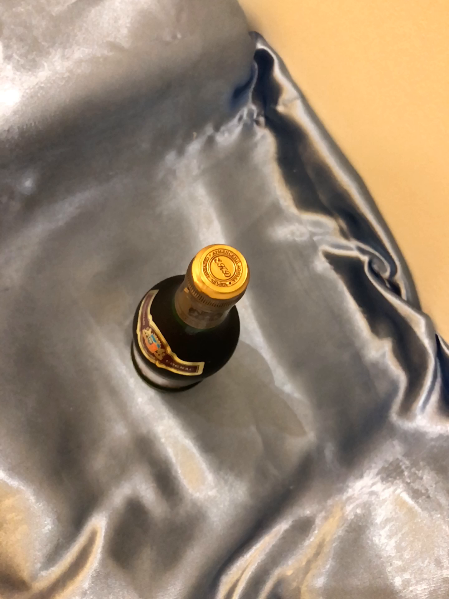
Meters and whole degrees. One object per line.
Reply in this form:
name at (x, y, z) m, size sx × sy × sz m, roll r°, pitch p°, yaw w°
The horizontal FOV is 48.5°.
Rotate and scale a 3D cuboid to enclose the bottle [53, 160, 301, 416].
bottle at (-0.033, 0.019, 0.332) m, size 0.074 × 0.248 × 0.080 m, roll 2°, pitch 75°, yaw -6°
